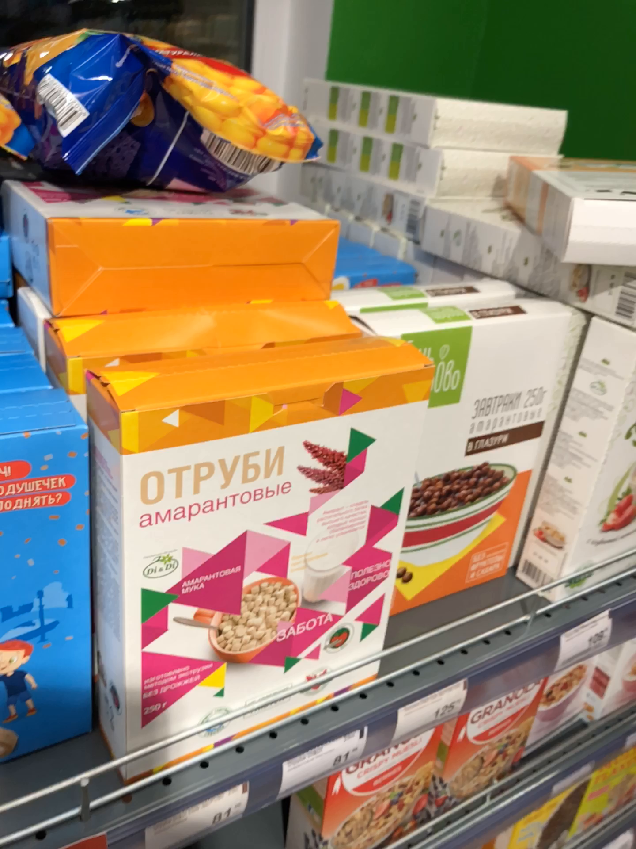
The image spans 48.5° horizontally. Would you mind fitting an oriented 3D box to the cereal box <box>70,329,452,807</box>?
[{"bbox_3d":[-0.037,0.083,0.435,0.200,0.259,0.060,-10,31,-31],"label":"cereal box"}]
